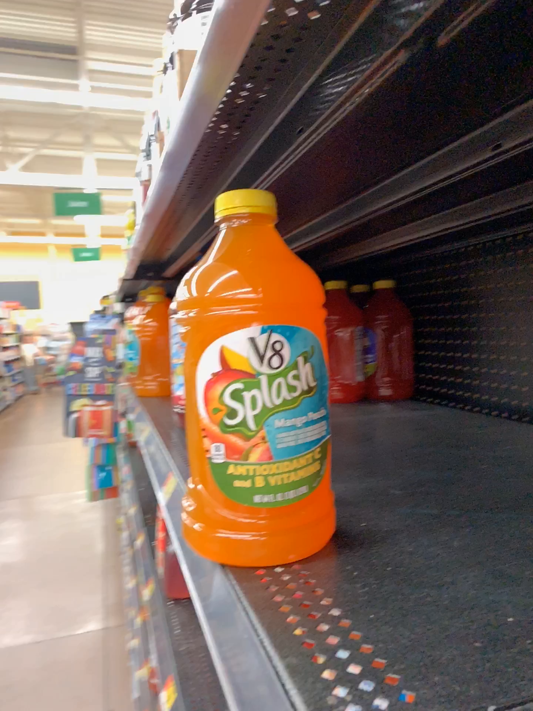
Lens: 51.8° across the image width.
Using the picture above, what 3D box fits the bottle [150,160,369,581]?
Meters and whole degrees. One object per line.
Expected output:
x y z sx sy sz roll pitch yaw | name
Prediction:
-0.013 0.005 0.415 0.128 0.260 0.125 -2 3 0 | bottle
